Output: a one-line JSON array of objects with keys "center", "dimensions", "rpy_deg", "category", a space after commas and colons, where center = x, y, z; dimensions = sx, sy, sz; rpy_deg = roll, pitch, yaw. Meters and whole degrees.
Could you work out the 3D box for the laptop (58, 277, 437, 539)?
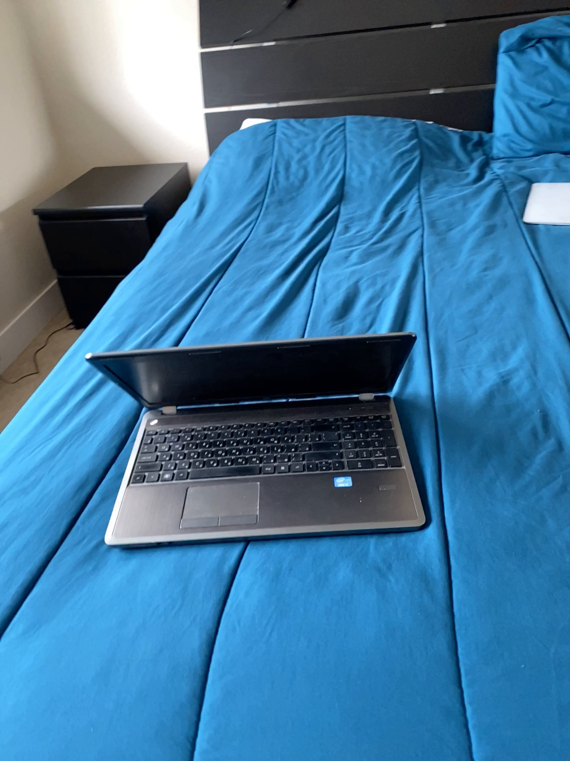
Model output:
[{"center": [-0.030, 0.024, 0.722], "dimensions": [0.369, 0.192, 0.256], "rpy_deg": [-4, 33, 3], "category": "laptop"}]
